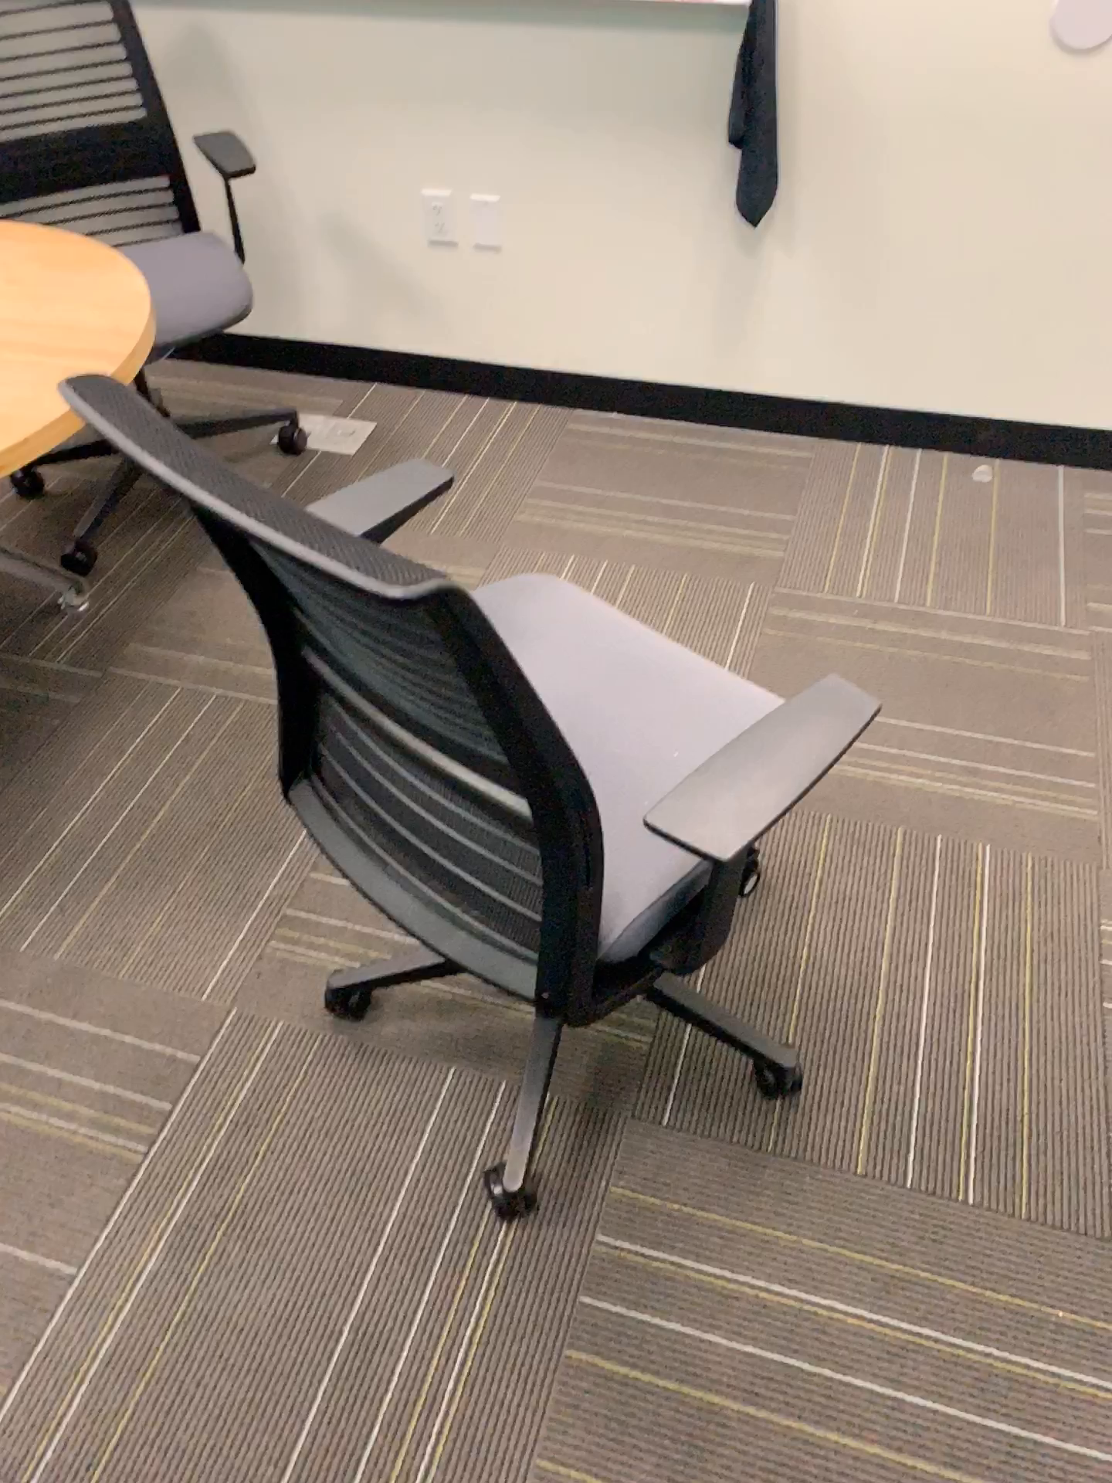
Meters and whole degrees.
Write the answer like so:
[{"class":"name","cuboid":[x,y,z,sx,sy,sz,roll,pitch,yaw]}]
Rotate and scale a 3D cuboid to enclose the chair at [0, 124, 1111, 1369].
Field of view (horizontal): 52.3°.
[{"class":"chair","cuboid":[-0.010,0.013,1.253,0.691,0.994,0.653,-36,53,-29]}]
